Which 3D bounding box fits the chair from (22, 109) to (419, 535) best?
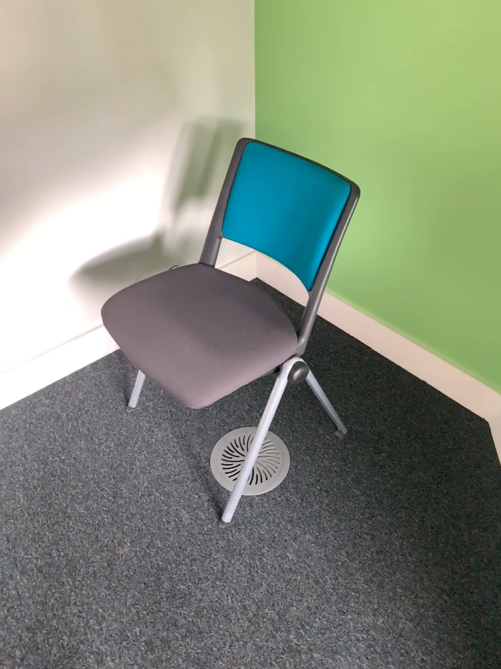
[{"bbox_3d":[-0.071,-0.070,1.225,0.552,0.663,0.584,-29,48,-29],"label":"chair"}]
